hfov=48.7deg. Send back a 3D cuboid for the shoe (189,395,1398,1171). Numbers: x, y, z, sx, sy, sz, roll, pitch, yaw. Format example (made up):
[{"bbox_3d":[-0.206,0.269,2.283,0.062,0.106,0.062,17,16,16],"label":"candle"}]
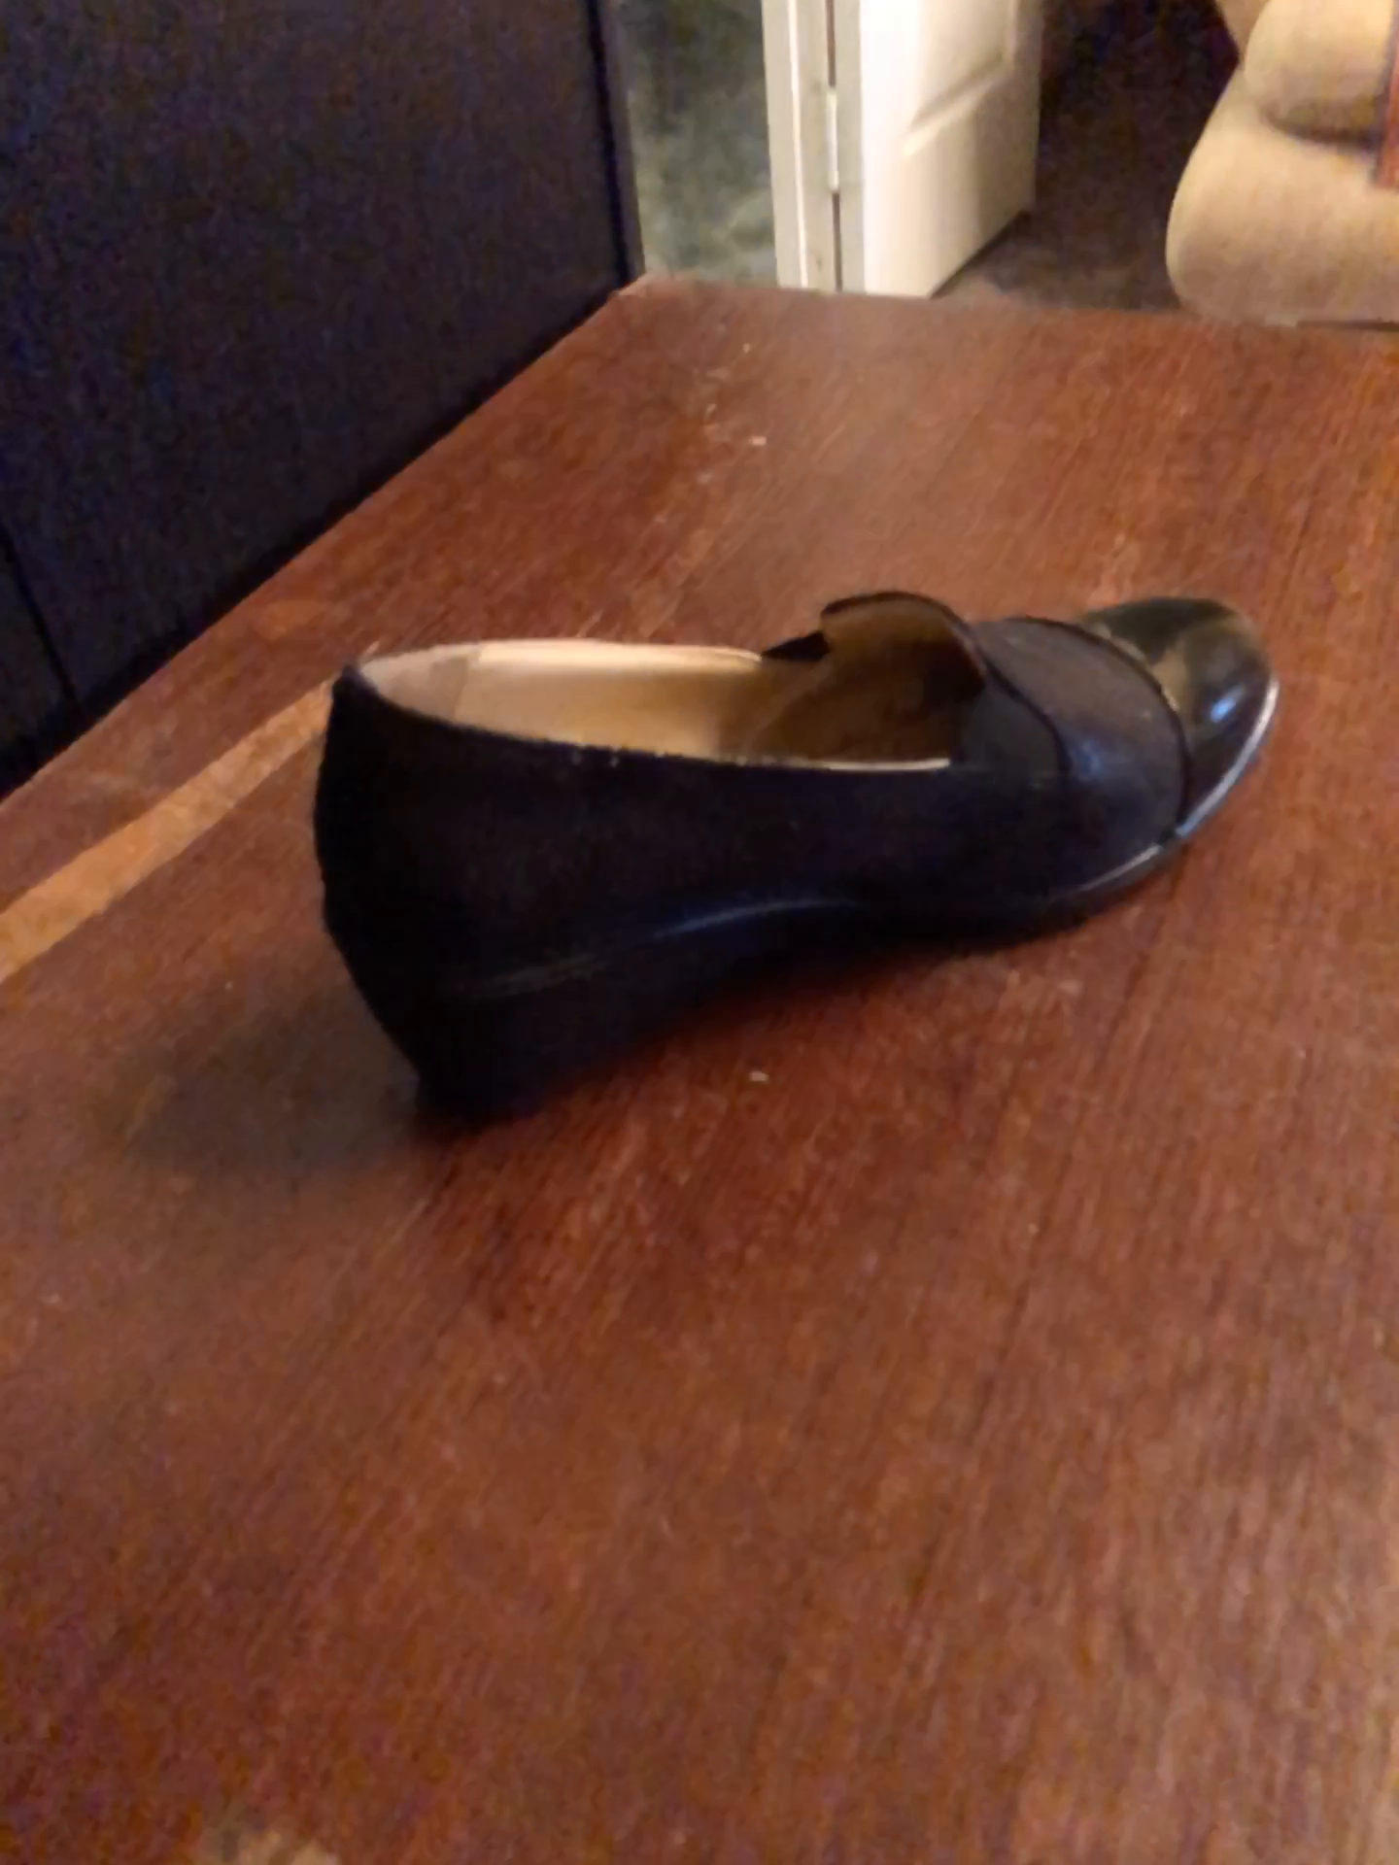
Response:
[{"bbox_3d":[0.029,-0.044,0.327,0.237,0.070,0.090,-18,42,-21],"label":"shoe"}]
